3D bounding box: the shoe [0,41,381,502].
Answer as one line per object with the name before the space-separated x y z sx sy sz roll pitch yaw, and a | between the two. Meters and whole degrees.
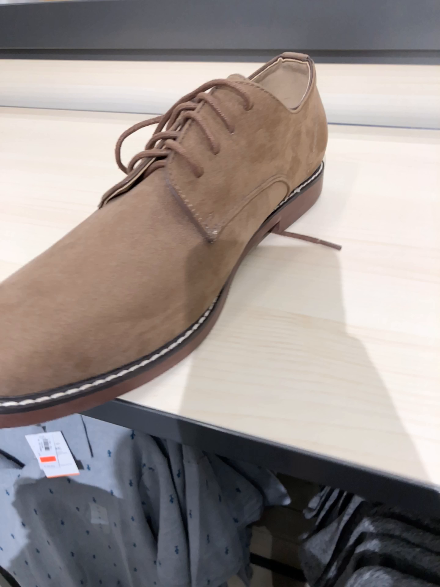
shoe | -0.026 -0.054 0.297 0.120 0.110 0.301 22 46 30
